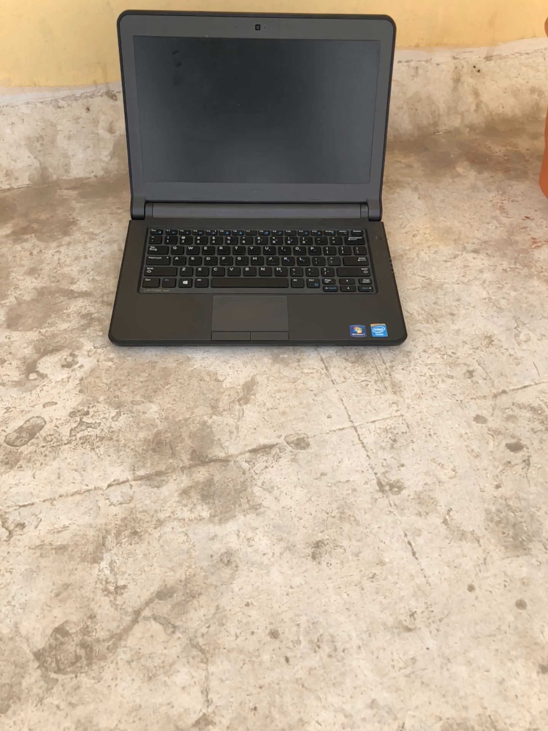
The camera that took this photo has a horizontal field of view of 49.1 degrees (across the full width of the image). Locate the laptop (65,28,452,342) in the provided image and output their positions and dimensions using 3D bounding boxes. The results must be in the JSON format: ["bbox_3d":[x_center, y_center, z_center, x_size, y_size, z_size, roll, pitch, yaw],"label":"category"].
[{"bbox_3d":[-0.017,-0.206,0.659,0.308,0.208,0.300,-1,47,-2],"label":"laptop"}]
